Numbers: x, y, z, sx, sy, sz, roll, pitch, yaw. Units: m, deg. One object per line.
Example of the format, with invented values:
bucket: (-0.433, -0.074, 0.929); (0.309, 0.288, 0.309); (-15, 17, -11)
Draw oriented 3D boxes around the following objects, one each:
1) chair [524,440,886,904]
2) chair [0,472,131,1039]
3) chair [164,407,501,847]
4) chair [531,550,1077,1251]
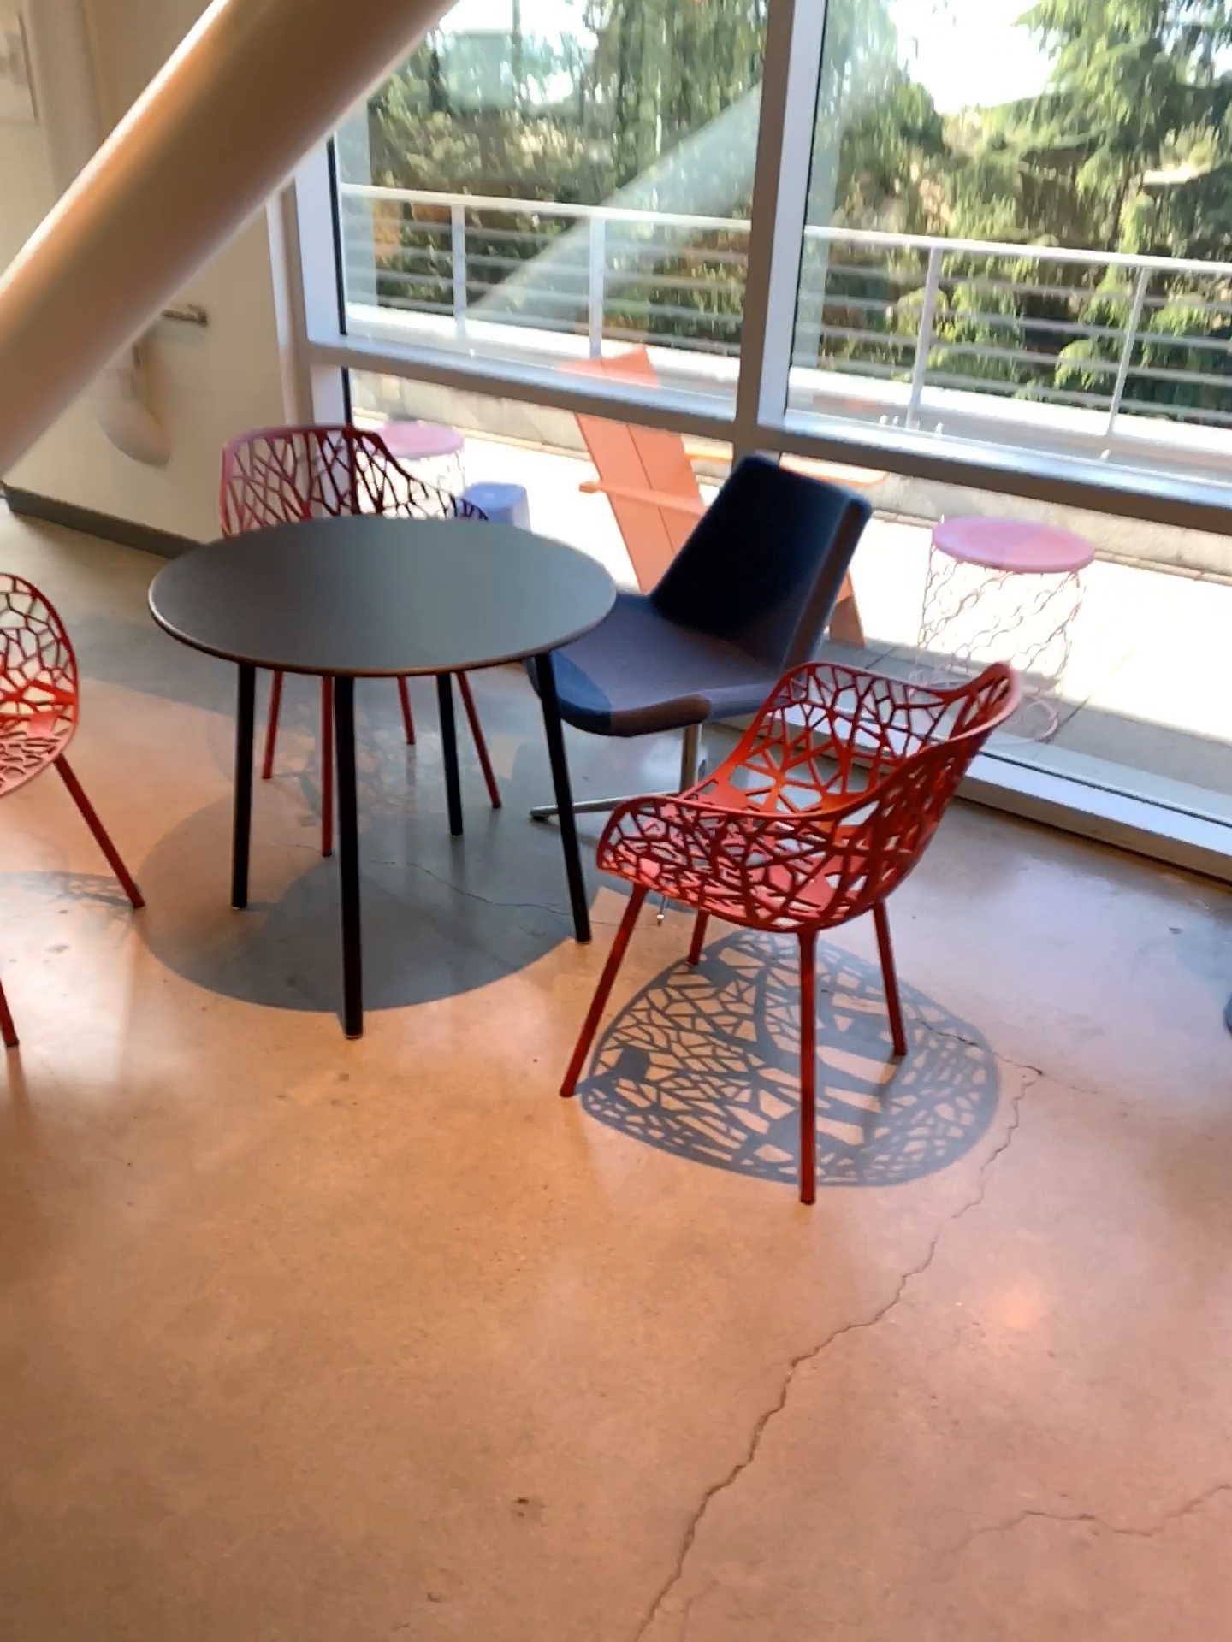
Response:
chair: (0.145, -0.342, 2.653); (0.510, 0.765, 0.563); (-11, 32, -22)
chair: (-1.304, -0.139, 2.194); (0.530, 0.765, 0.563); (8, 29, 10)
chair: (-0.615, -0.454, 2.766); (0.560, 0.765, 0.533); (-11, 32, -23)
chair: (0.262, 0.079, 1.914); (0.562, 0.765, 0.552); (20, 34, 29)
